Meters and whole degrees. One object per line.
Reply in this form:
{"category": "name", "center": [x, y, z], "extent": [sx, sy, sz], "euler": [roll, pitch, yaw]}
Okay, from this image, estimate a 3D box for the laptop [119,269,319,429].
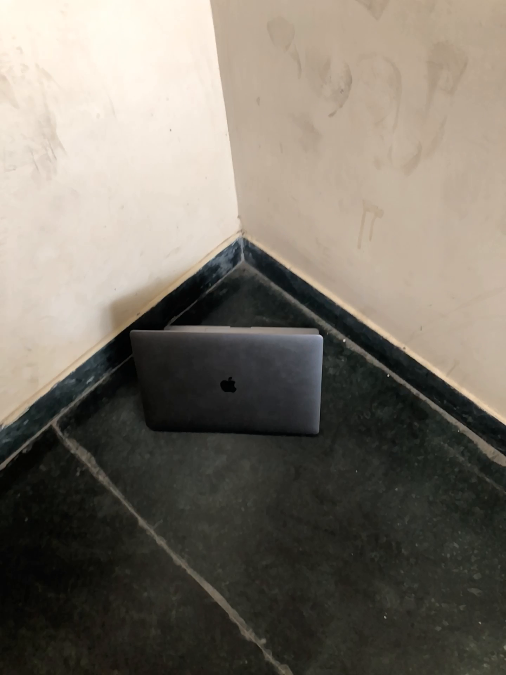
{"category": "laptop", "center": [-0.047, 0.023, 1.046], "extent": [0.329, 0.198, 0.221], "euler": [2, 60, 7]}
